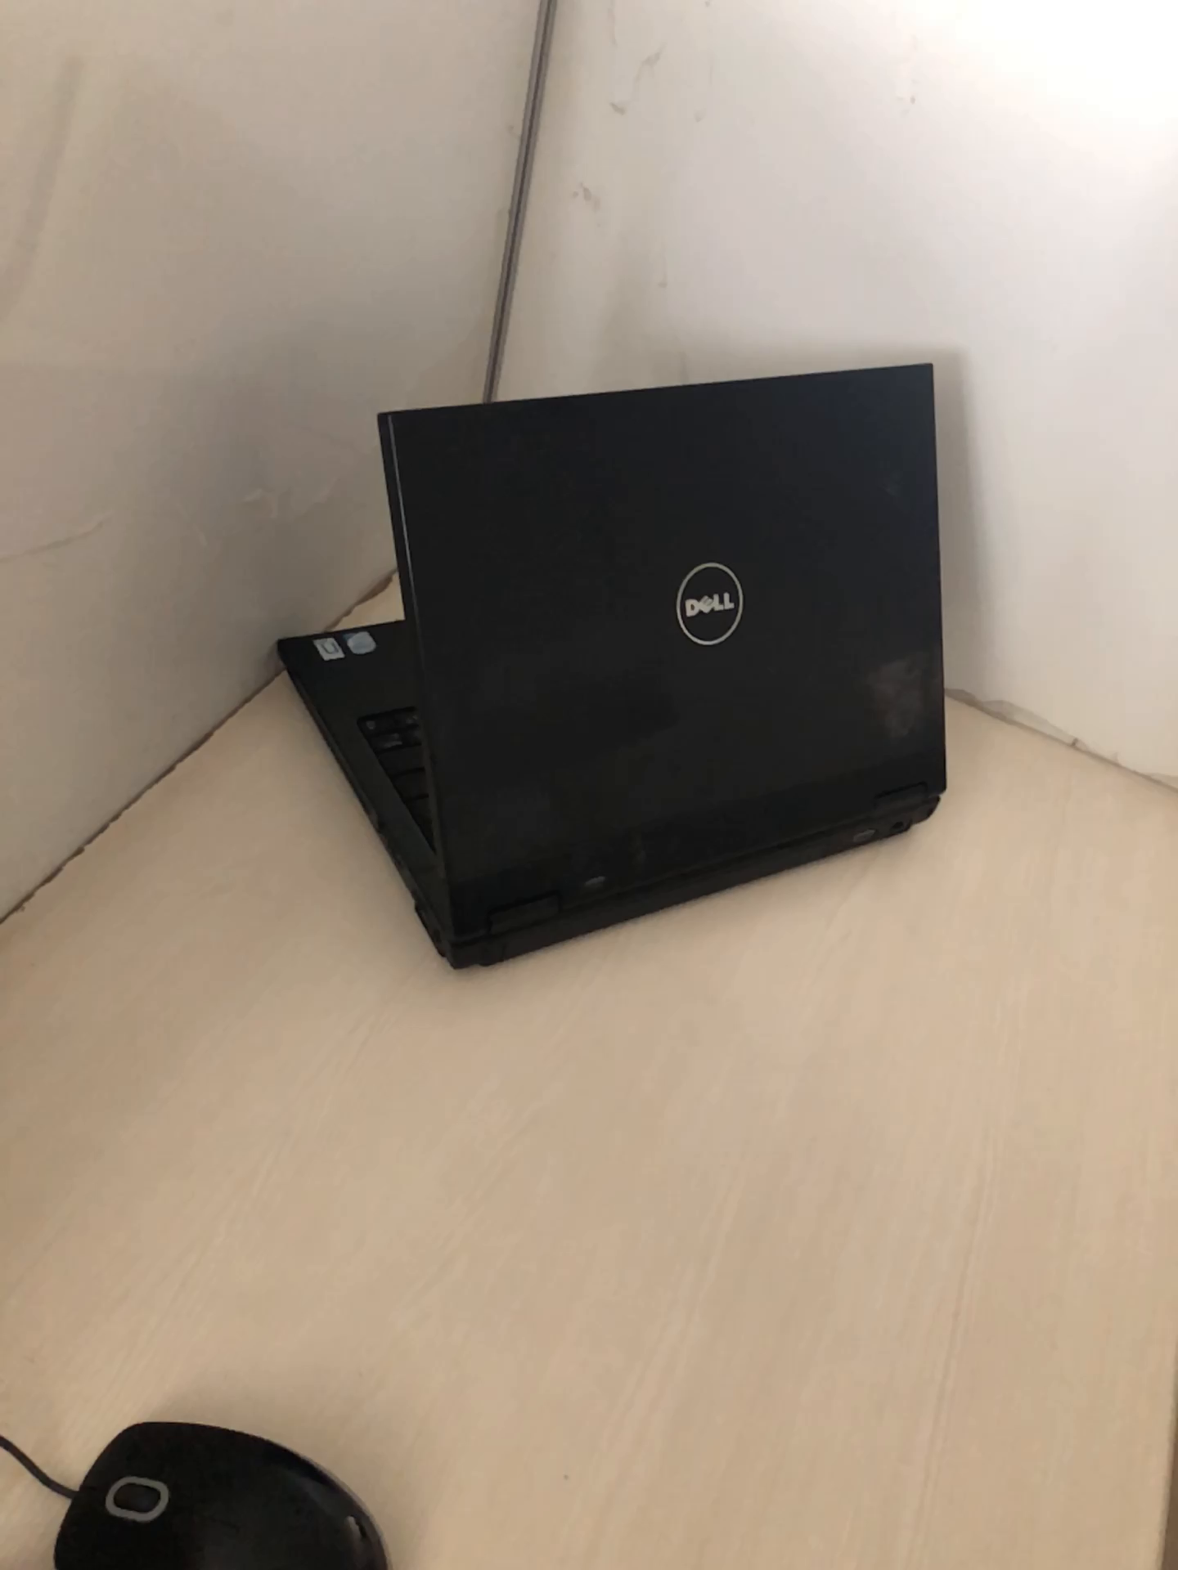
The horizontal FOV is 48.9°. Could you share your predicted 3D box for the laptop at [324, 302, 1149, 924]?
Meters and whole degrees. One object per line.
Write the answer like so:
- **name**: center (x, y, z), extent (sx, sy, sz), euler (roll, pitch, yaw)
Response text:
- **laptop**: center (0.053, -0.107, 0.662), extent (0.304, 0.190, 0.230), euler (-14, 46, -27)
